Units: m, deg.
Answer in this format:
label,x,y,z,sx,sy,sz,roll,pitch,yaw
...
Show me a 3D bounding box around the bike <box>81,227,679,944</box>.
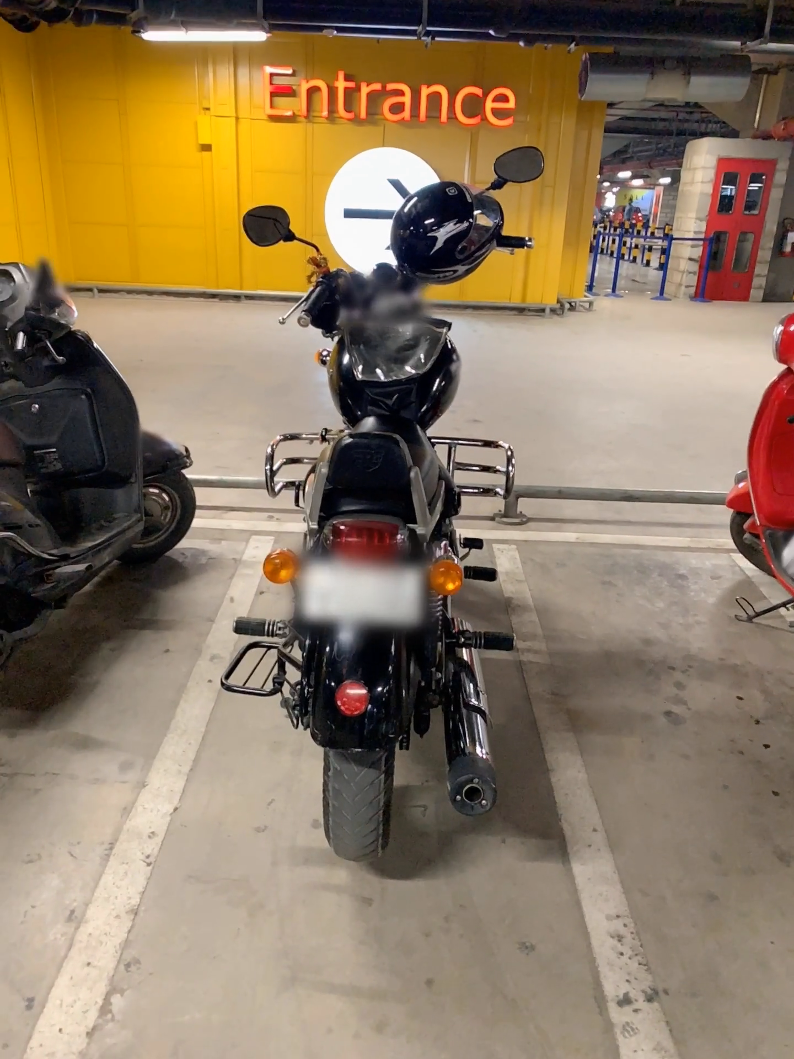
label,x,y,z,sx,sy,sz,roll,pitch,yaw
bike,-0.113,-0.170,2.314,0.828,1.229,2.087,1,21,-4
